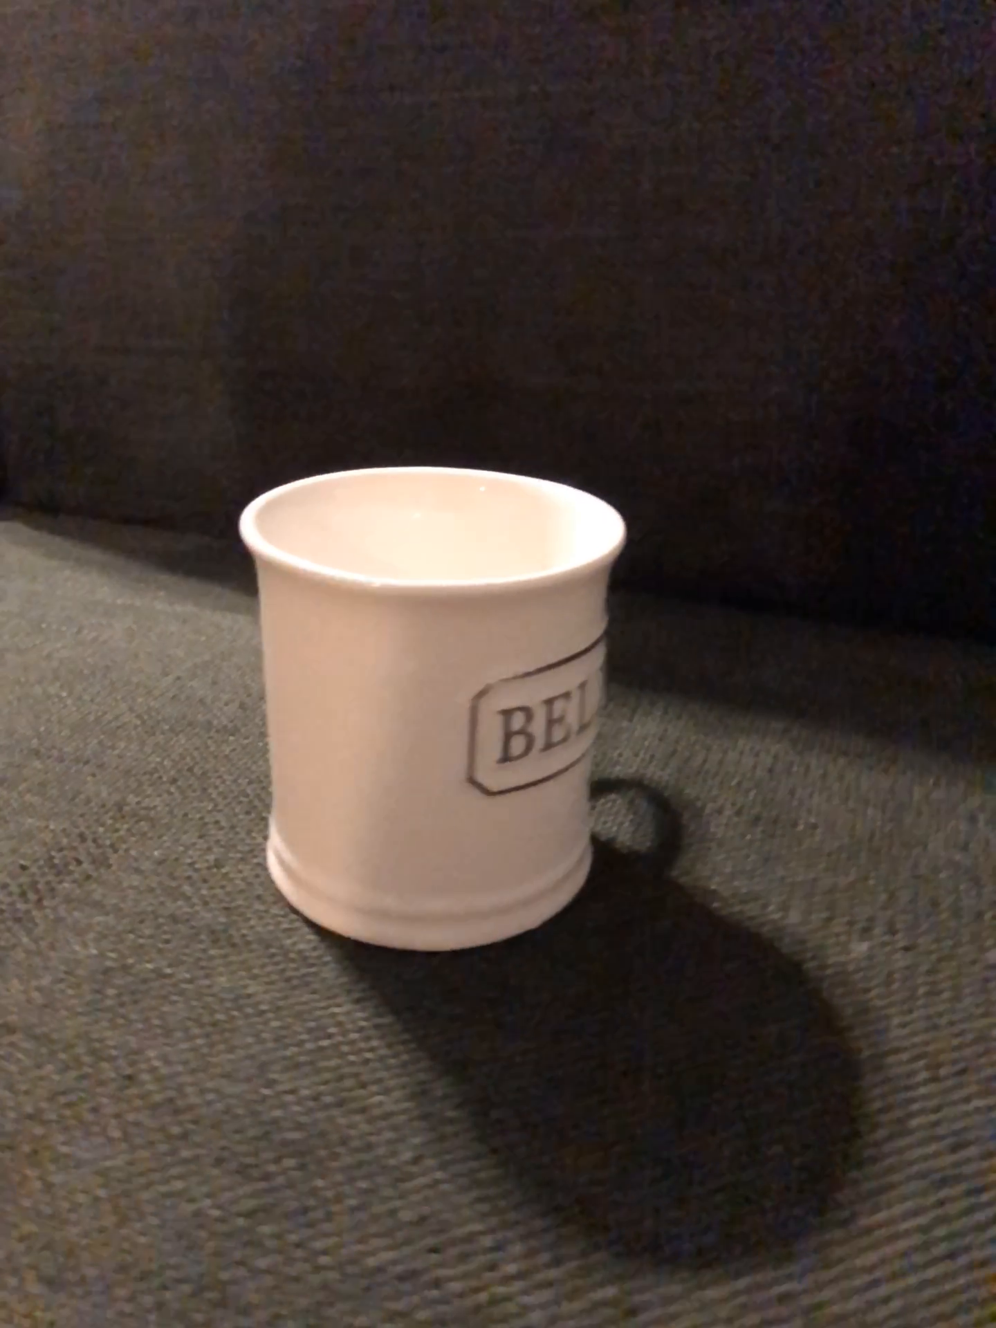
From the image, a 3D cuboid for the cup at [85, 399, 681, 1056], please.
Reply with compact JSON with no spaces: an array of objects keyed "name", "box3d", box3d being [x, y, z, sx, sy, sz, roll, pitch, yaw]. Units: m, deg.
[{"name":"cup","box3d":[-0.014,0.001,0.281,0.100,0.100,0.141,7,26,11]}]
